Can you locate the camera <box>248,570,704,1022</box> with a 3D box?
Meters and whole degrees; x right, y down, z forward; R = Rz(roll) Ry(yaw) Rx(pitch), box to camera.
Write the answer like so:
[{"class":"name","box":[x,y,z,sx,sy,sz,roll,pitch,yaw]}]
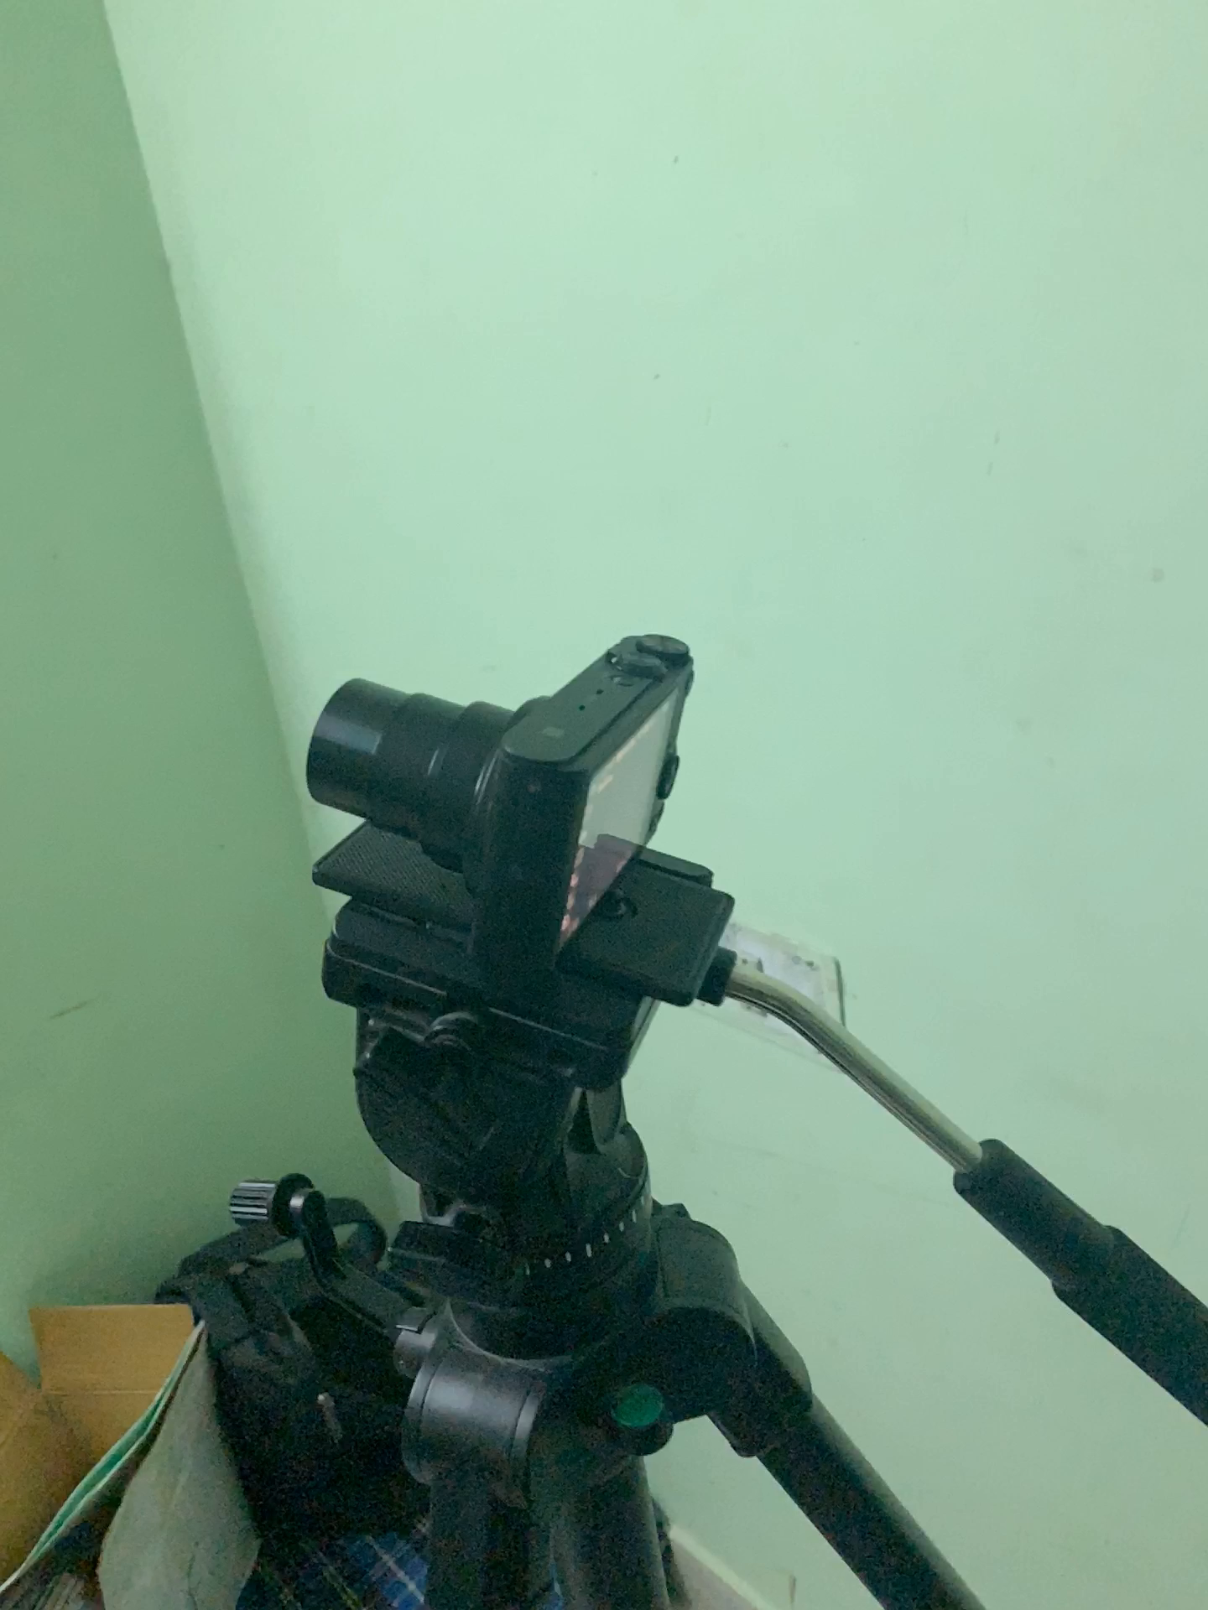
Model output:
[{"class":"camera","box":[-0.027,-0.009,0.298,0.068,0.060,0.102,16,26,14]}]
